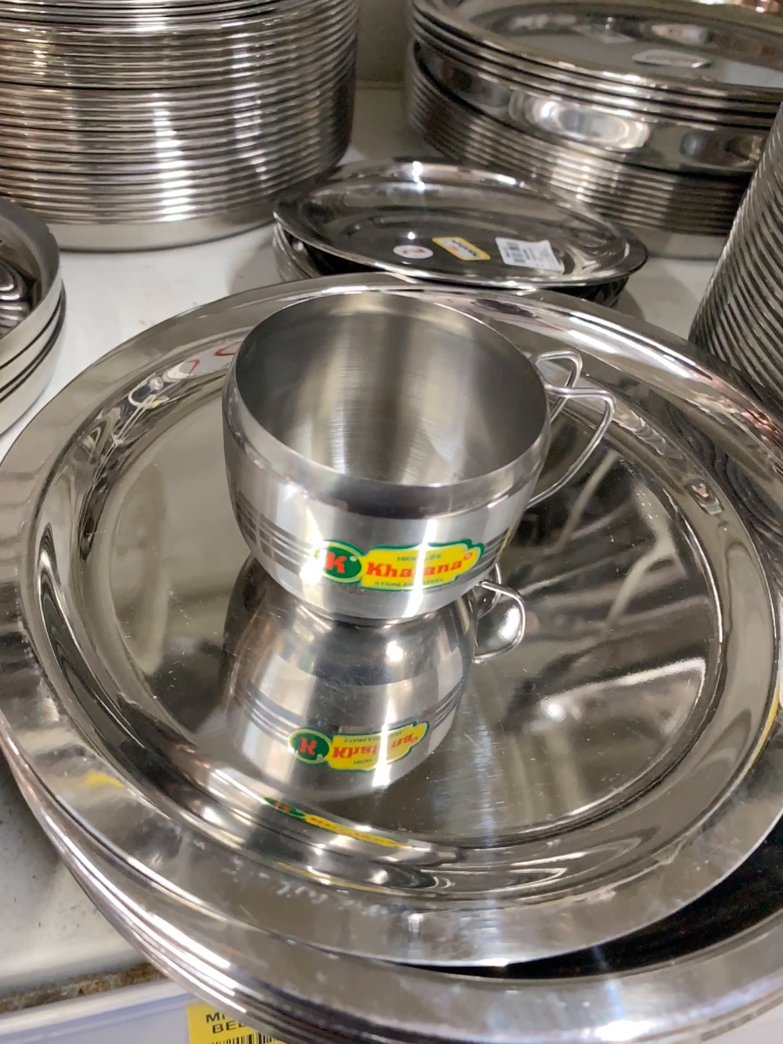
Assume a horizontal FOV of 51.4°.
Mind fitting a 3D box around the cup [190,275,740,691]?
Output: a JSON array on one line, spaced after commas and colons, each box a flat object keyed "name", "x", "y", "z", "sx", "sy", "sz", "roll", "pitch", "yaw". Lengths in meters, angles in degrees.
[{"name": "cup", "x": 0.010, "y": -0.014, "z": 0.175, "sx": 0.090, "sy": 0.040, "sz": 0.070, "roll": -10, "pitch": 48, "yaw": -17}]
